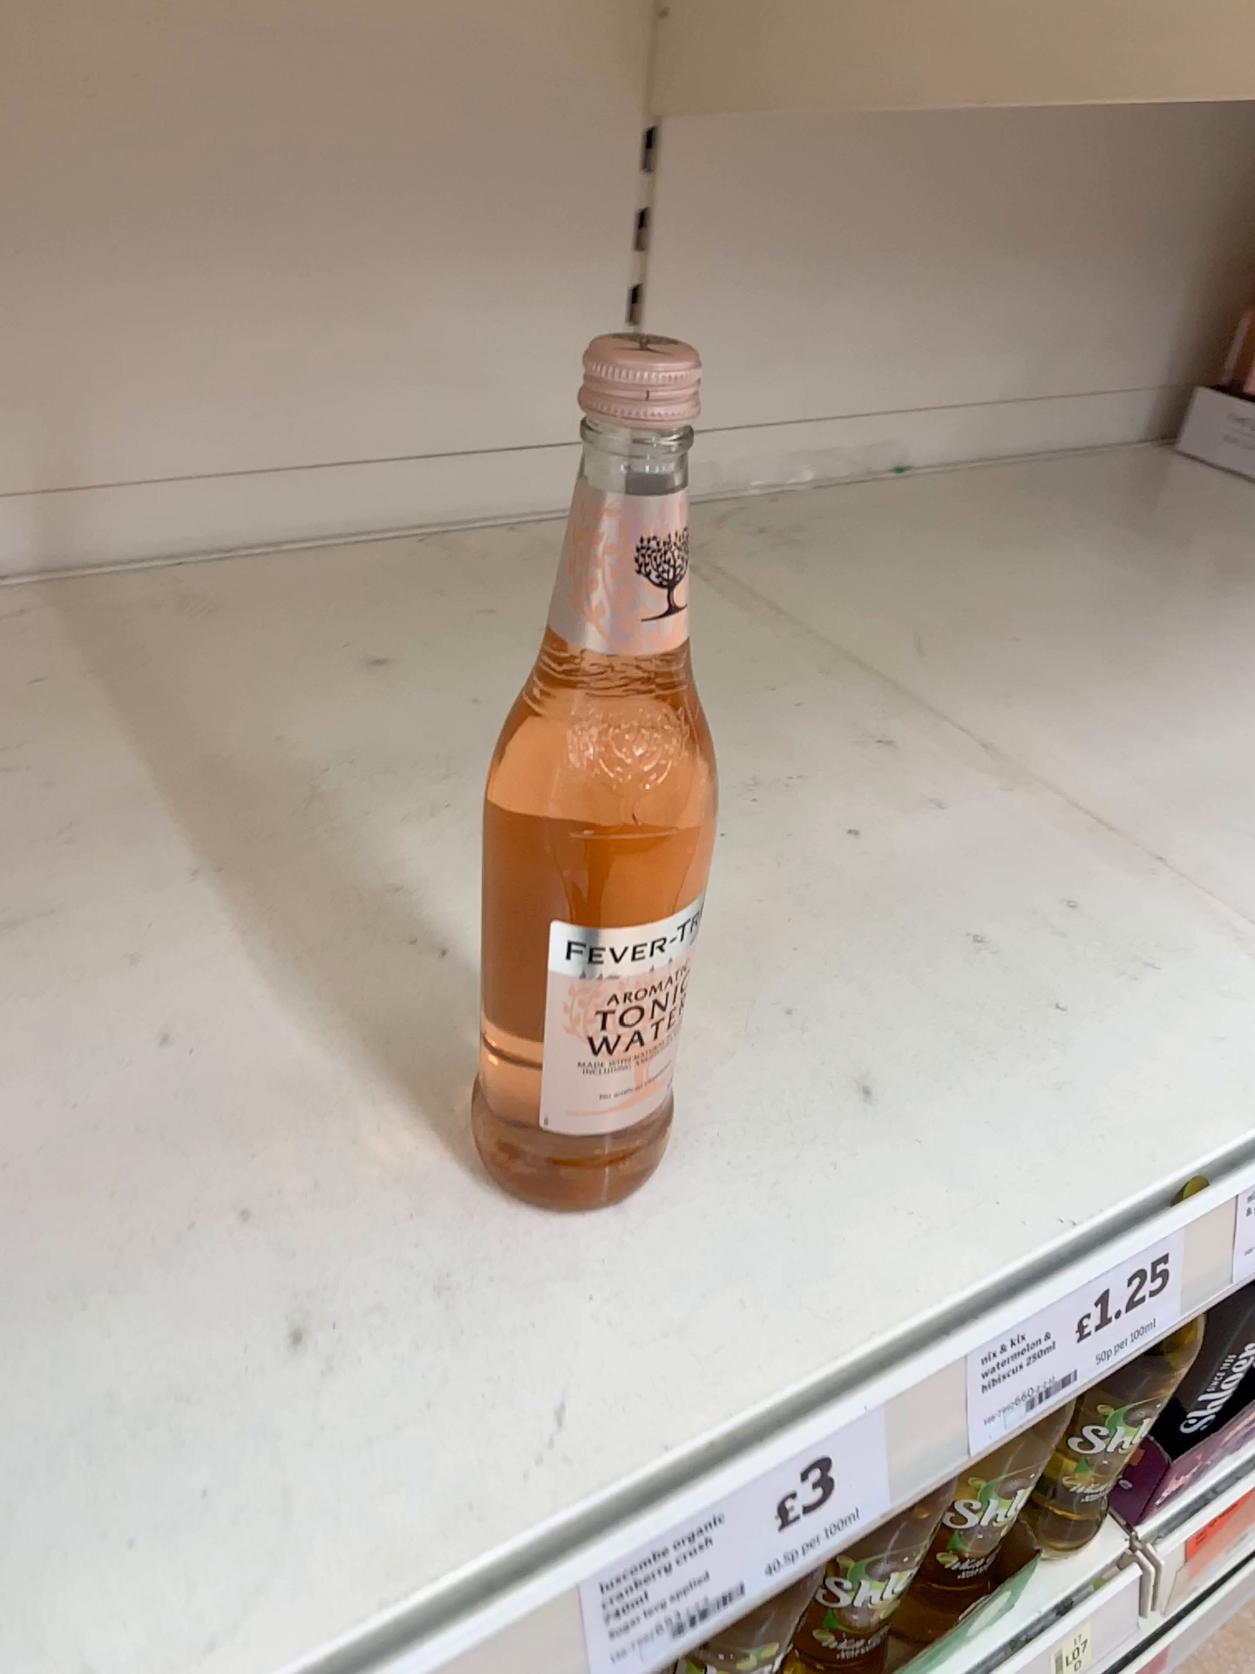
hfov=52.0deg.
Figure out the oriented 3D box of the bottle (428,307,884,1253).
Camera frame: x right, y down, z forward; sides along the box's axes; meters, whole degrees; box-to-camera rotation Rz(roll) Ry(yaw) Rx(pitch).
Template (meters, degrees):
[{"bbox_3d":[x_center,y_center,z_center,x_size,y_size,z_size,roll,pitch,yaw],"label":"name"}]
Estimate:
[{"bbox_3d":[-0.004,-0.006,0.365,0.078,0.253,0.067,-19,41,-33],"label":"bottle"}]
